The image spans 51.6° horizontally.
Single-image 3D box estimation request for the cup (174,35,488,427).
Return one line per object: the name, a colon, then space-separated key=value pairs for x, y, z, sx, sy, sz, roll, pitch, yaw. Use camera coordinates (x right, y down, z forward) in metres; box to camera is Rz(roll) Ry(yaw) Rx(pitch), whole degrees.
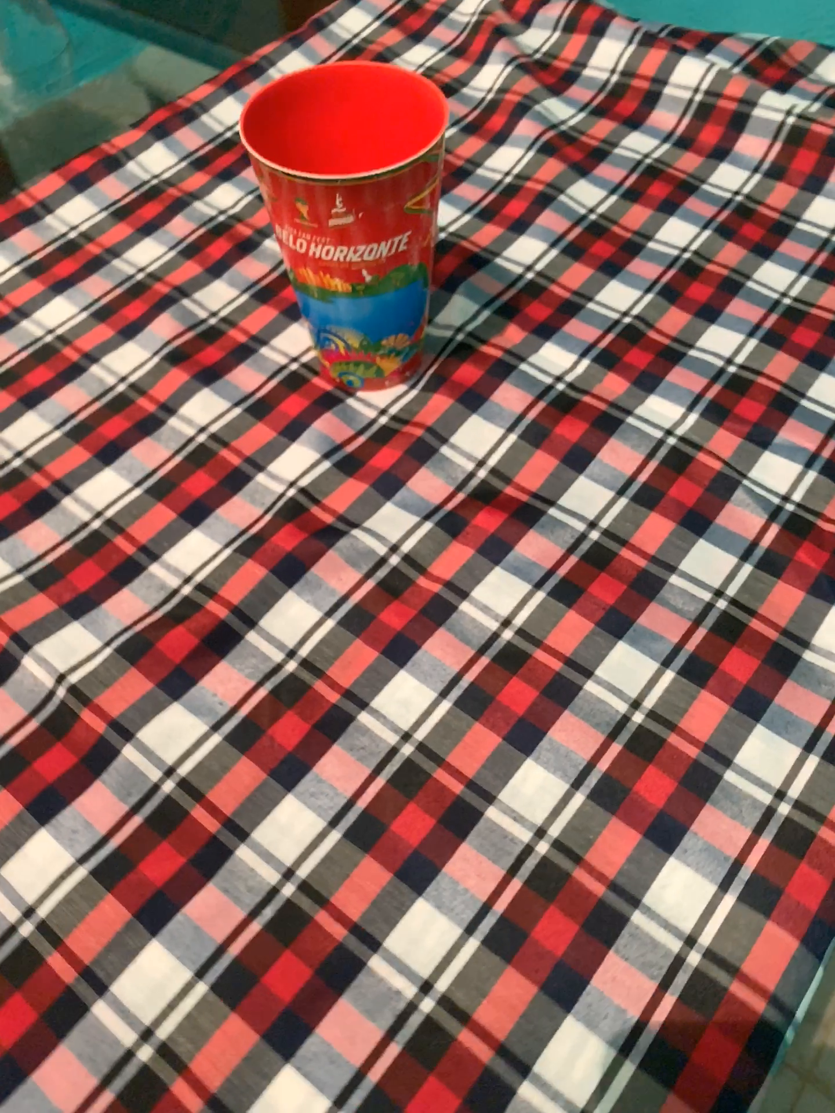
cup: x=-0.033 y=-0.157 z=0.424 sx=0.100 sy=0.129 sz=0.100 roll=-1 pitch=56 yaw=2
